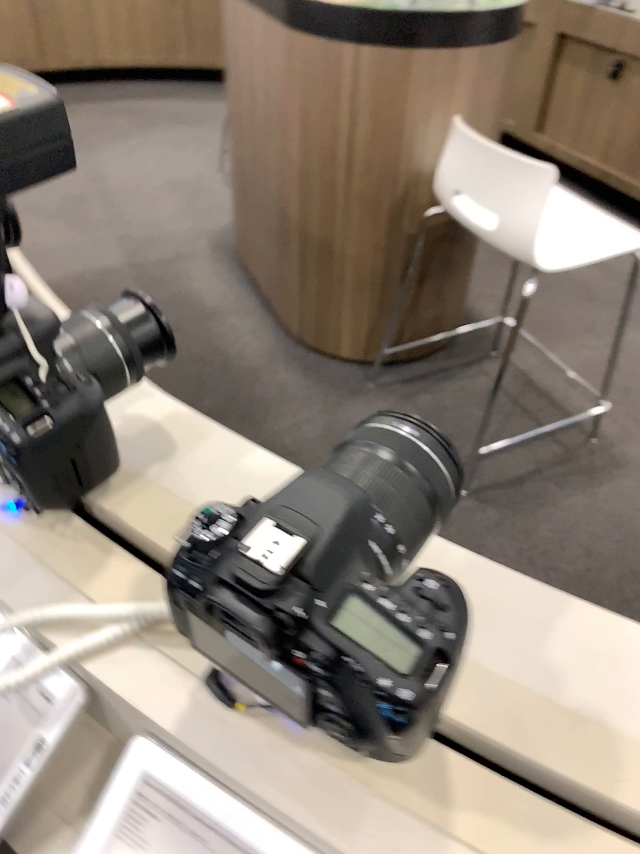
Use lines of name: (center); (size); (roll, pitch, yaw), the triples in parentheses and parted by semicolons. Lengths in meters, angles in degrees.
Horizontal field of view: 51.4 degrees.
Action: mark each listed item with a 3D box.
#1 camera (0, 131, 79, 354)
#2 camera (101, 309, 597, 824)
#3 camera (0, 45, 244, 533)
camera: (-0.360, -0.179, 0.613); (0.140, 0.099, 0.201); (32, 50, 29)
camera: (0.022, 0.048, 0.331); (0.140, 0.099, 0.191); (27, 48, 25)
camera: (-0.167, -0.092, 0.424); (0.151, 0.219, 0.170); (32, 50, 28)
